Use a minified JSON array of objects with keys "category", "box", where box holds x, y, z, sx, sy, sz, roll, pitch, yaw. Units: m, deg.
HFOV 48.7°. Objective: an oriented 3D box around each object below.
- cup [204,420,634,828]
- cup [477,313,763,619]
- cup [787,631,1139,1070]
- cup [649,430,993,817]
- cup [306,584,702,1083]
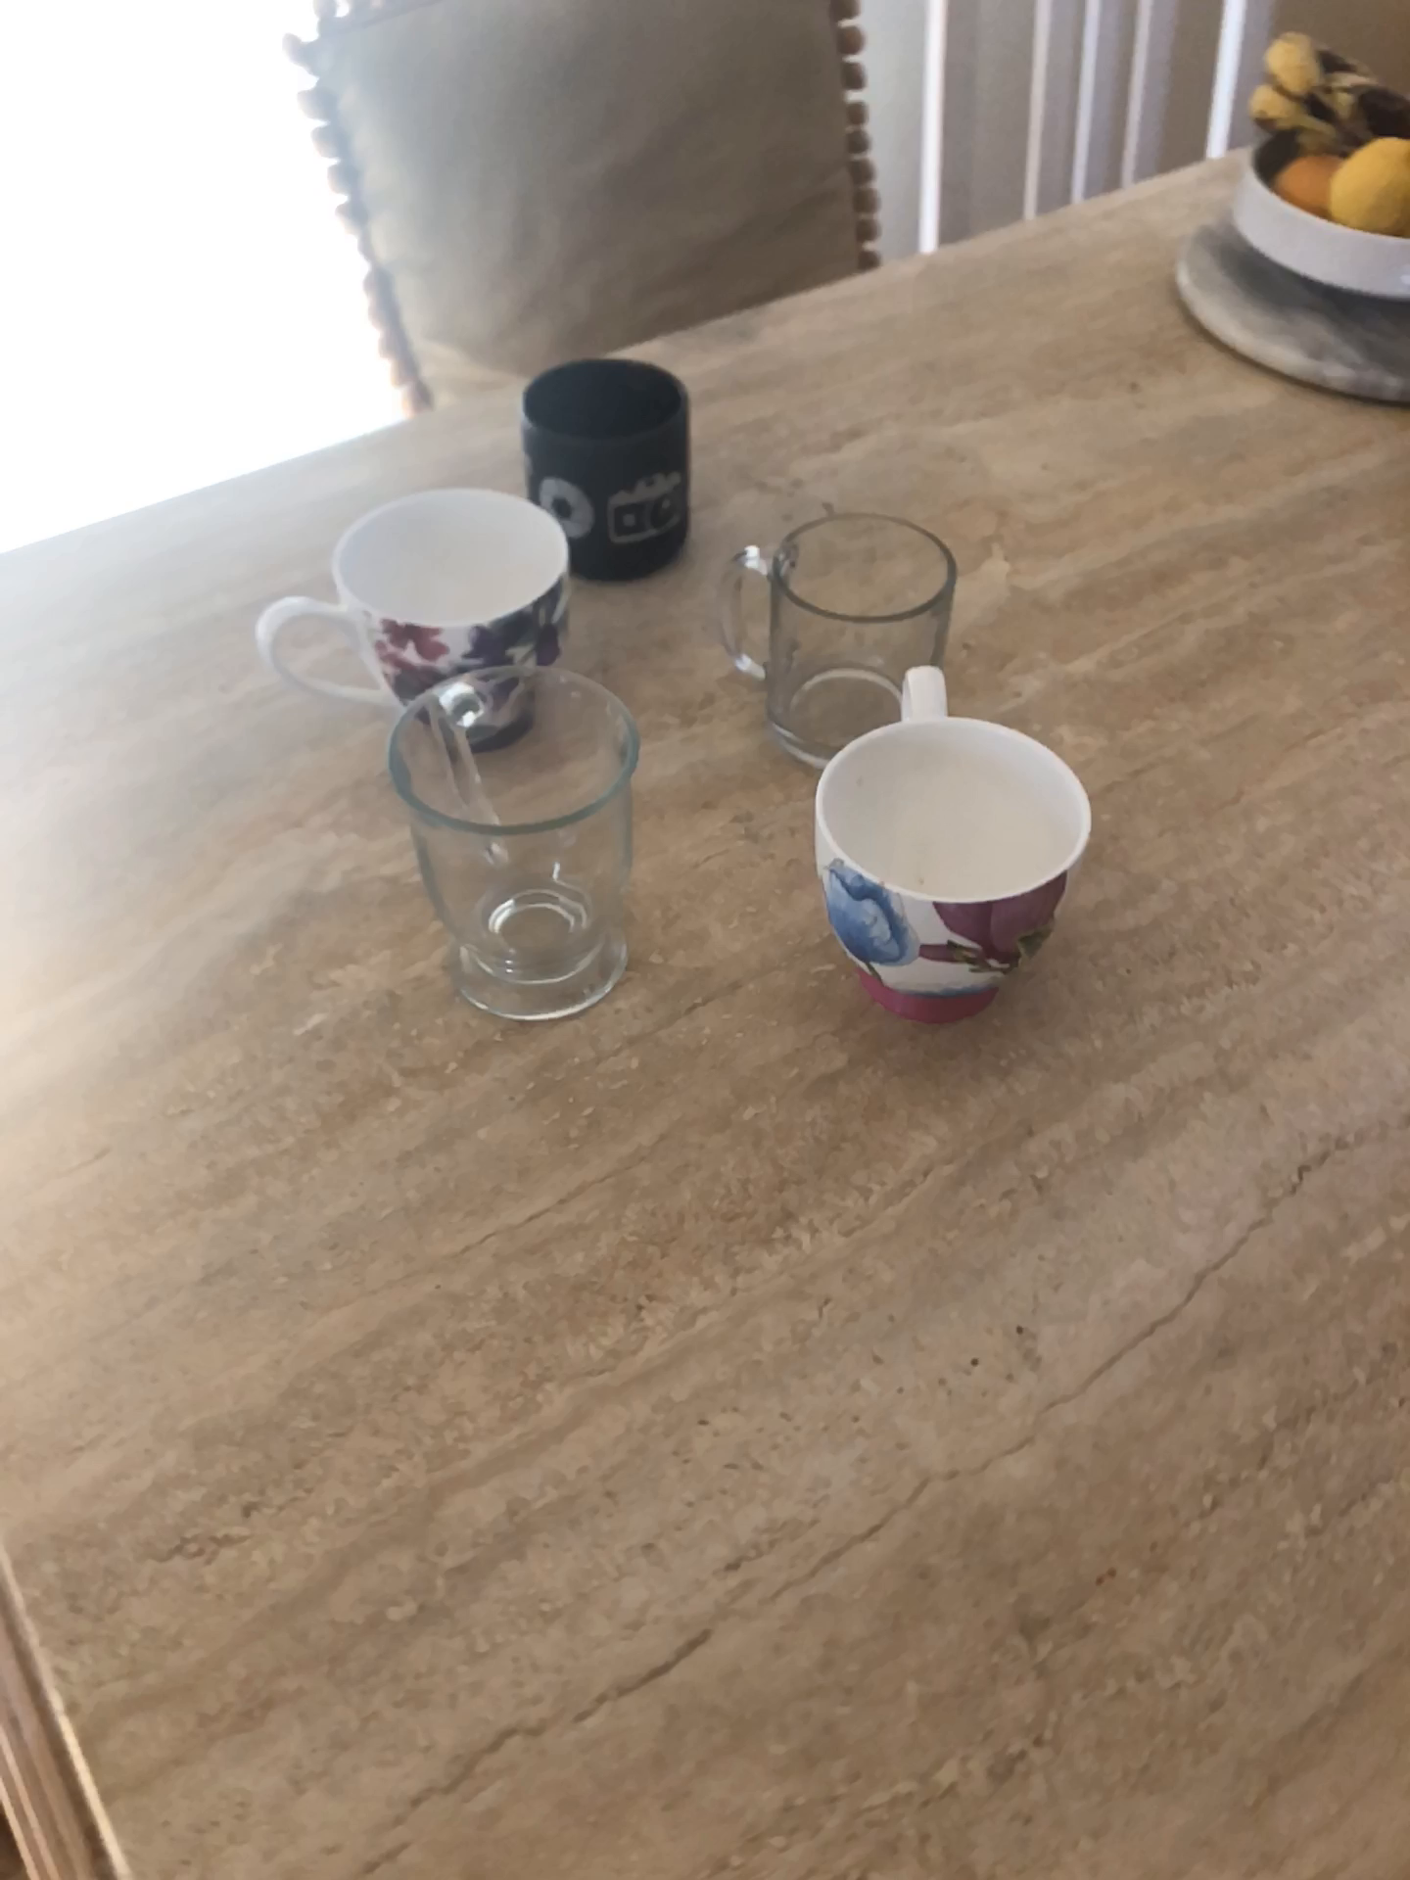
[{"category":"cup","box":[-0.128,-0.151,0.729,0.151,0.099,0.110,-32,54,-26]},{"category":"cup","box":[-0.048,-0.268,0.873,0.100,0.089,0.141,-23,51,-20]},{"category":"cup","box":[0.097,-0.039,0.641,0.110,0.099,0.151,-2,47,-2]},{"category":"cup","box":[0.054,-0.156,0.760,0.130,0.119,0.091,30,54,25]},{"category":"cup","box":[-0.080,-0.046,0.641,0.100,0.119,0.141,-23,51,-20]}]
